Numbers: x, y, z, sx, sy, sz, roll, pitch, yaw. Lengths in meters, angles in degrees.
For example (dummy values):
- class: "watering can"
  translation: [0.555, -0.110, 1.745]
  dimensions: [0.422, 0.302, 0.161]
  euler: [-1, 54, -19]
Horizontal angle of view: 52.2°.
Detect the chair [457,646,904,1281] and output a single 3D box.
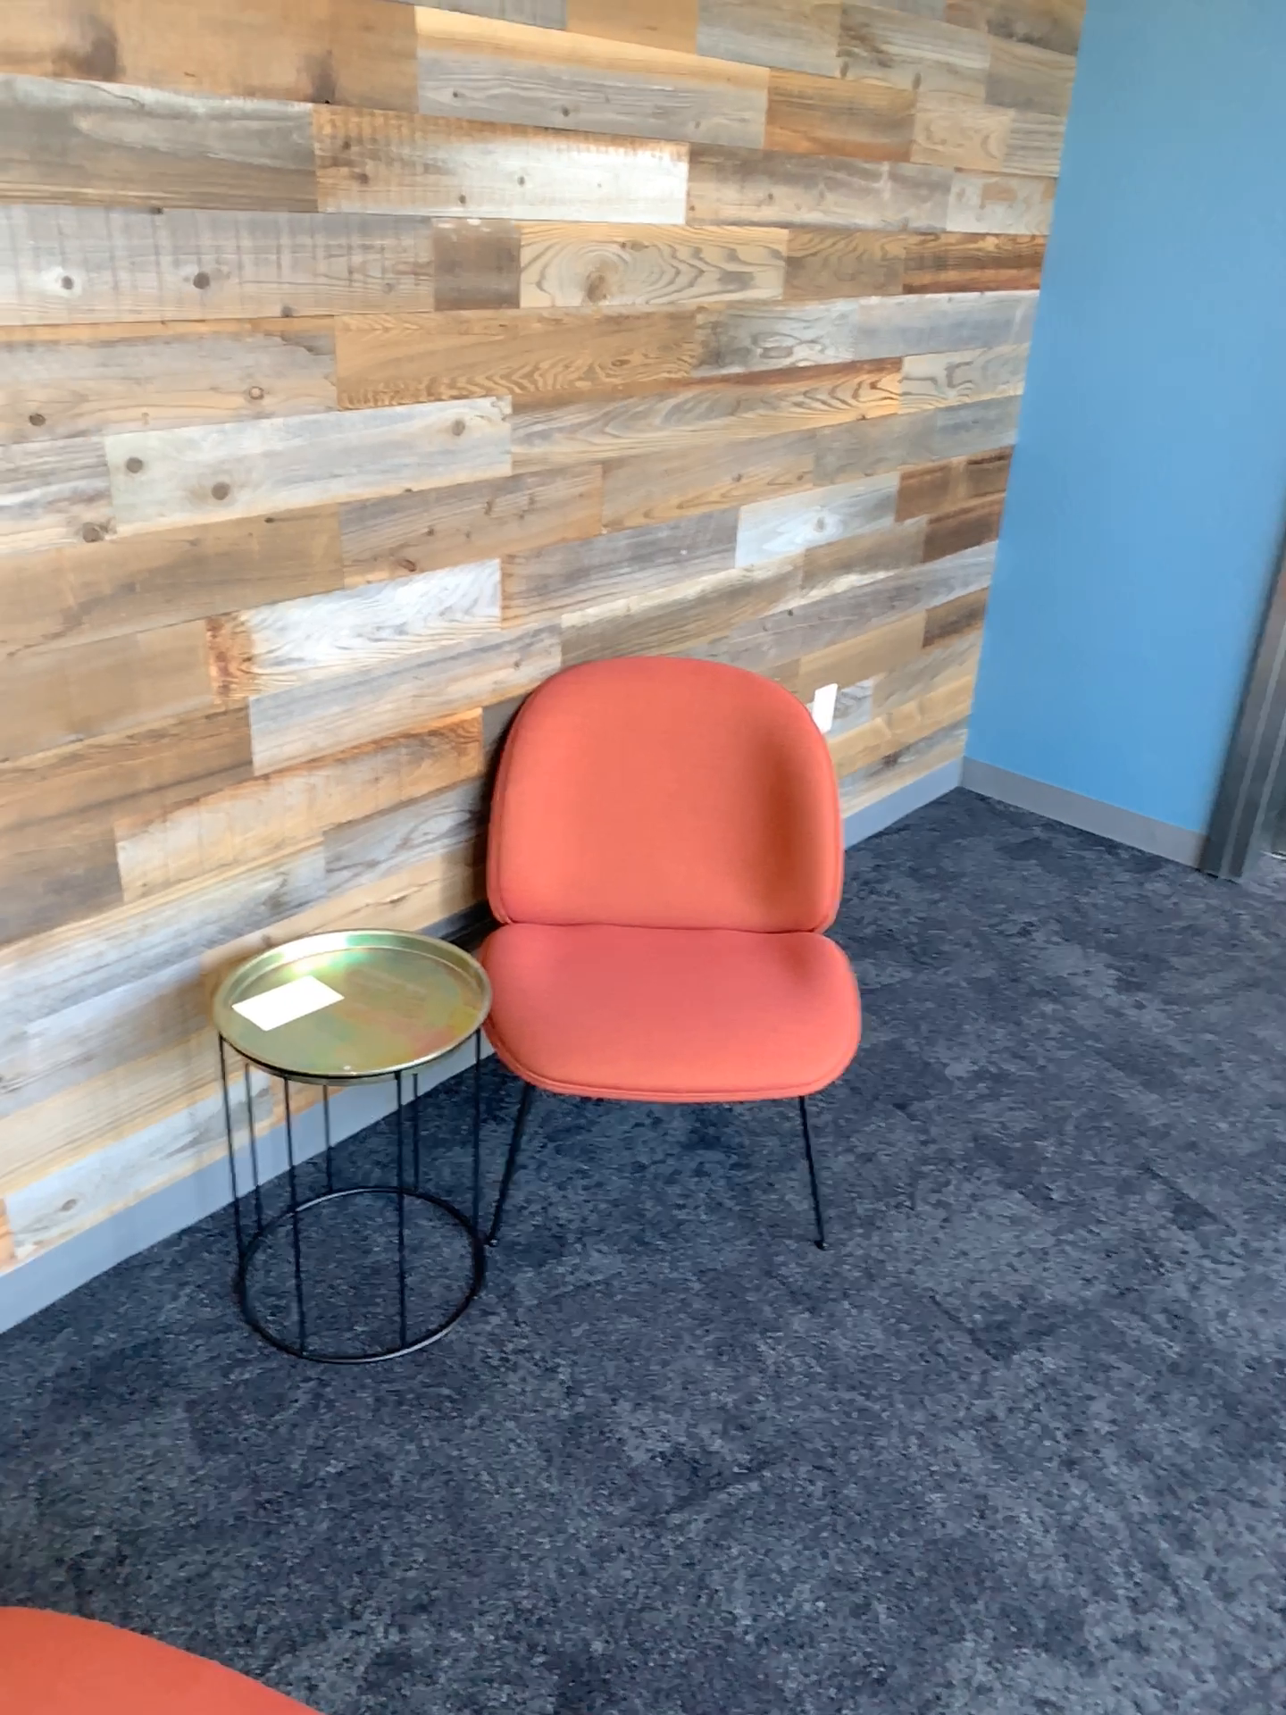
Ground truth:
- class: "chair"
  translation: [0.005, 0.134, 2.144]
  dimensions: [0.570, 0.756, 0.714]
  euler: [0, 27, -6]
